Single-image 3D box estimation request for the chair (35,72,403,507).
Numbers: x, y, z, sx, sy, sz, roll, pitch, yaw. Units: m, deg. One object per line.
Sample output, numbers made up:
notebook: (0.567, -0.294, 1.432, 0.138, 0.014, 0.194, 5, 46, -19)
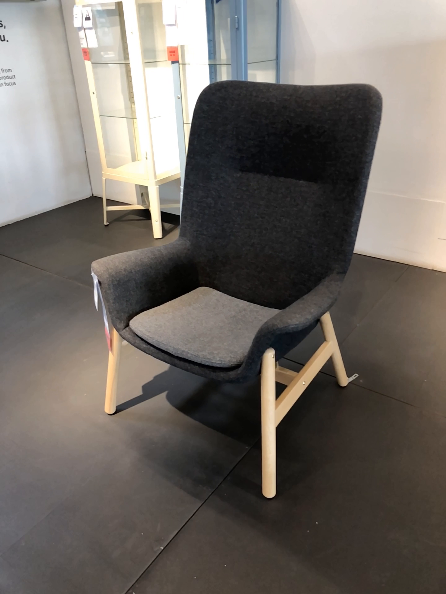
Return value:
chair: (0.032, -0.112, 1.568, 0.722, 1.063, 0.713, 17, 33, 32)
